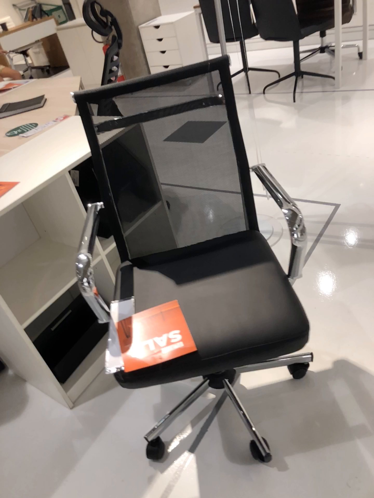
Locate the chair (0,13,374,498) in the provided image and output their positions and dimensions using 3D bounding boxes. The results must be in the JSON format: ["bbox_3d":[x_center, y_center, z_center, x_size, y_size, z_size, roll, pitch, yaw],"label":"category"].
[{"bbox_3d":[0.021,0.042,1.080,0.610,0.992,0.625,-15,35,1],"label":"chair"}]
